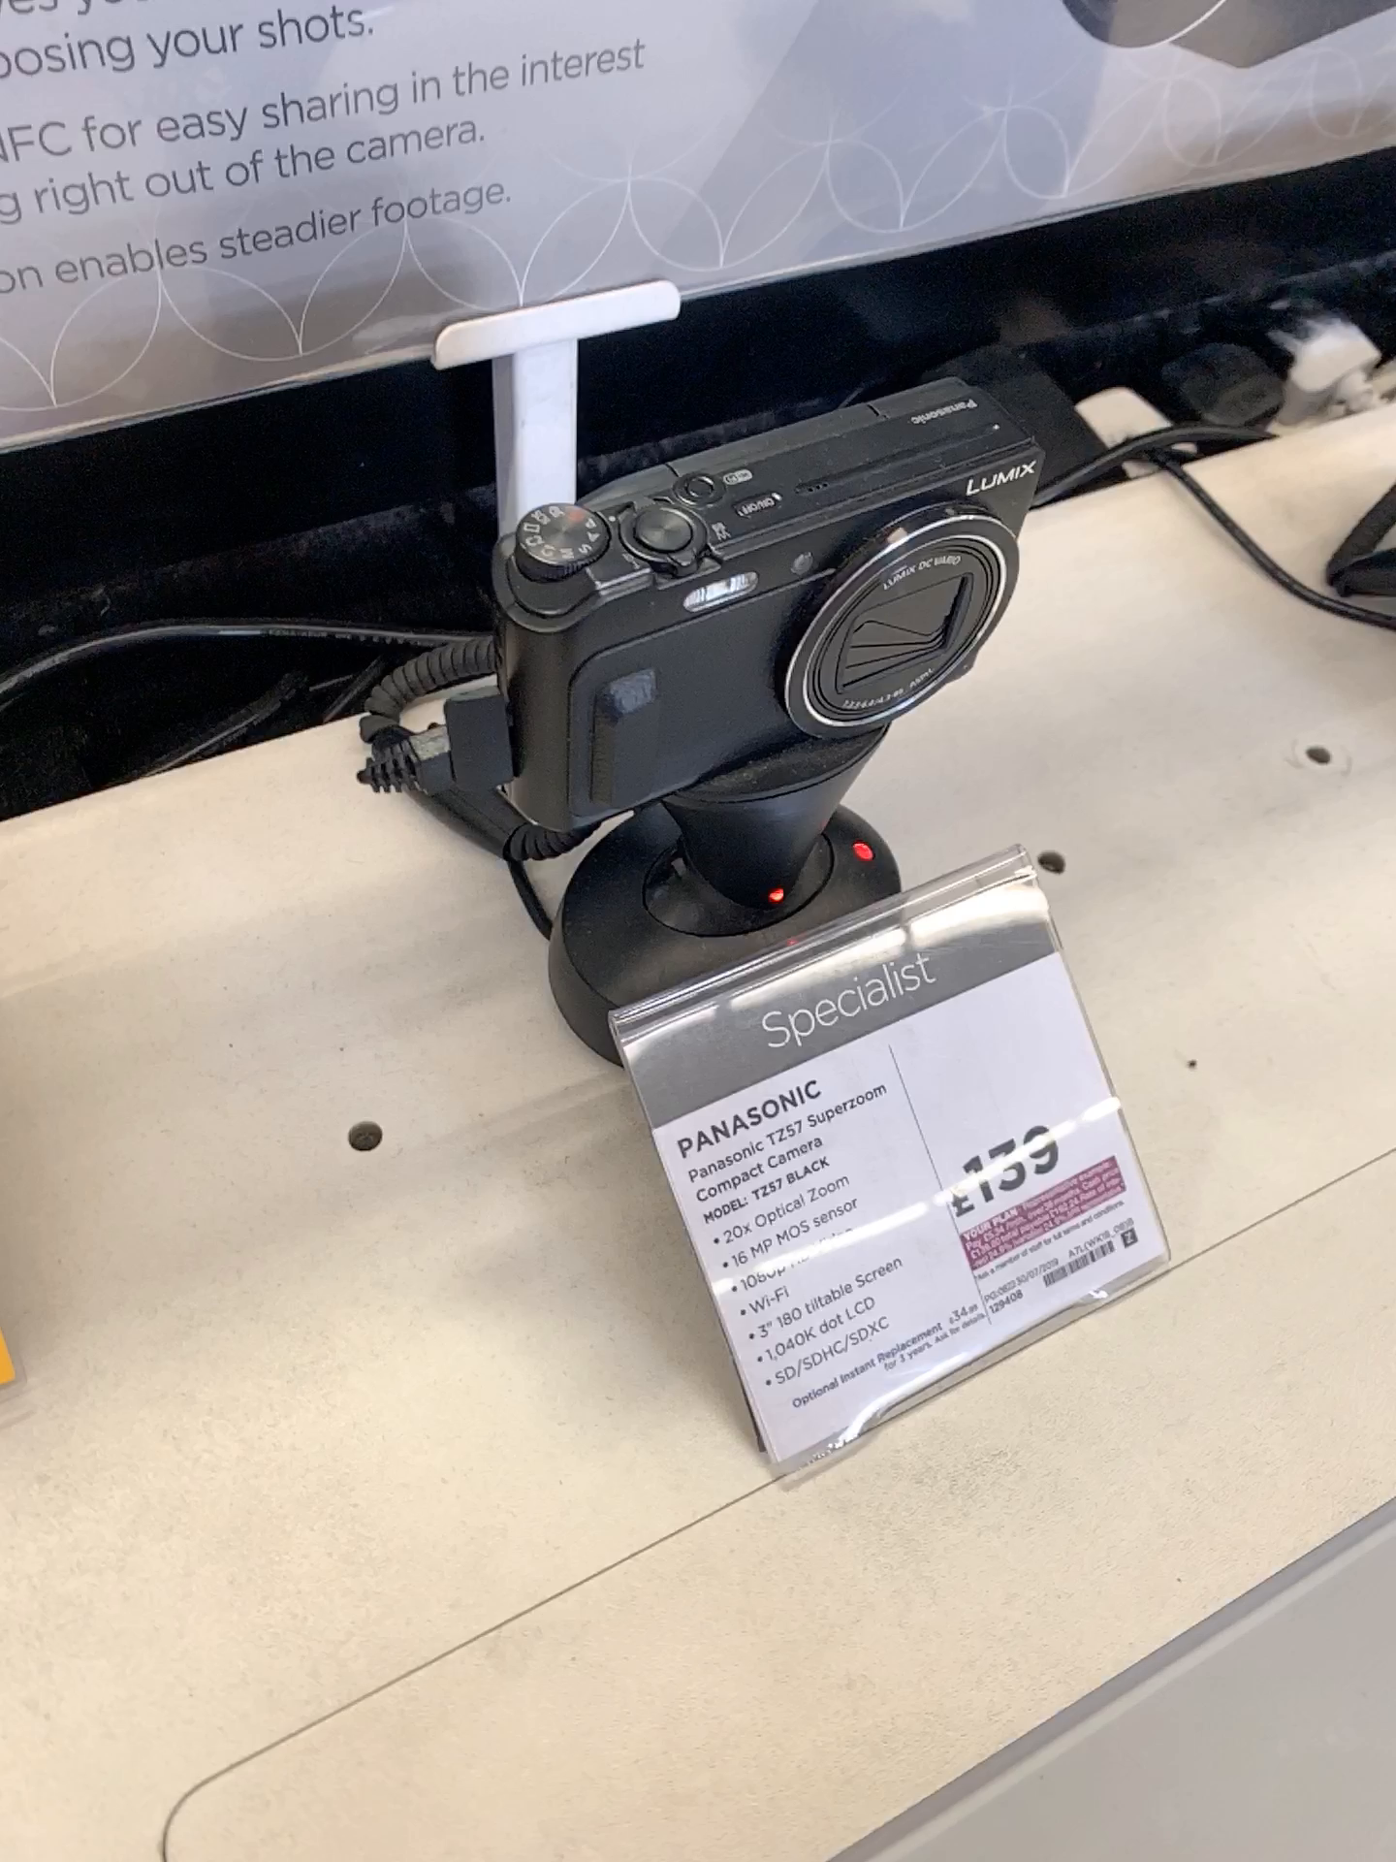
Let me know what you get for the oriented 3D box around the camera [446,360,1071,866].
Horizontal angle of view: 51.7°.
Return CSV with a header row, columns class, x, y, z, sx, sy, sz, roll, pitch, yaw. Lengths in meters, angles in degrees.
class,x,y,z,sx,sy,sz,roll,pitch,yaw
camera,0.011,-0.061,0.276,0.111,0.060,0.030,-24,61,-21
